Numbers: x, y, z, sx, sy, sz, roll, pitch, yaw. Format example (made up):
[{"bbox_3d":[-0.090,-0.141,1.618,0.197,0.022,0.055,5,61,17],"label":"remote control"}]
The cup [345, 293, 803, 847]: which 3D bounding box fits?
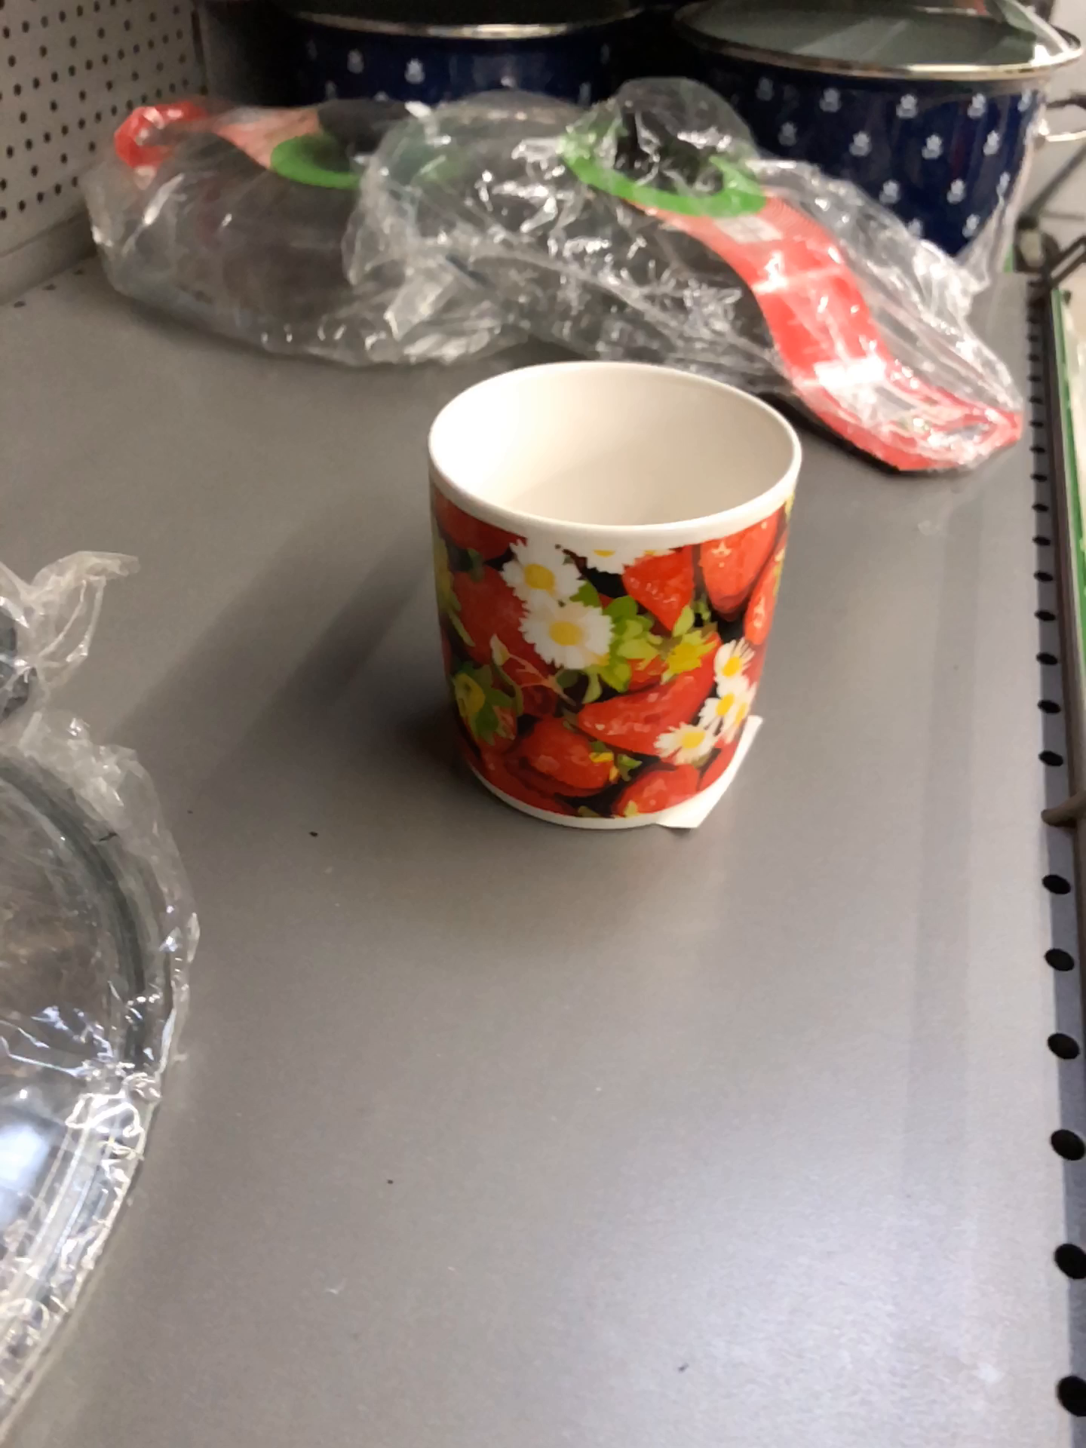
[{"bbox_3d":[0.014,-0.047,0.315,0.090,0.078,0.129,9,39,7],"label":"cup"}]
